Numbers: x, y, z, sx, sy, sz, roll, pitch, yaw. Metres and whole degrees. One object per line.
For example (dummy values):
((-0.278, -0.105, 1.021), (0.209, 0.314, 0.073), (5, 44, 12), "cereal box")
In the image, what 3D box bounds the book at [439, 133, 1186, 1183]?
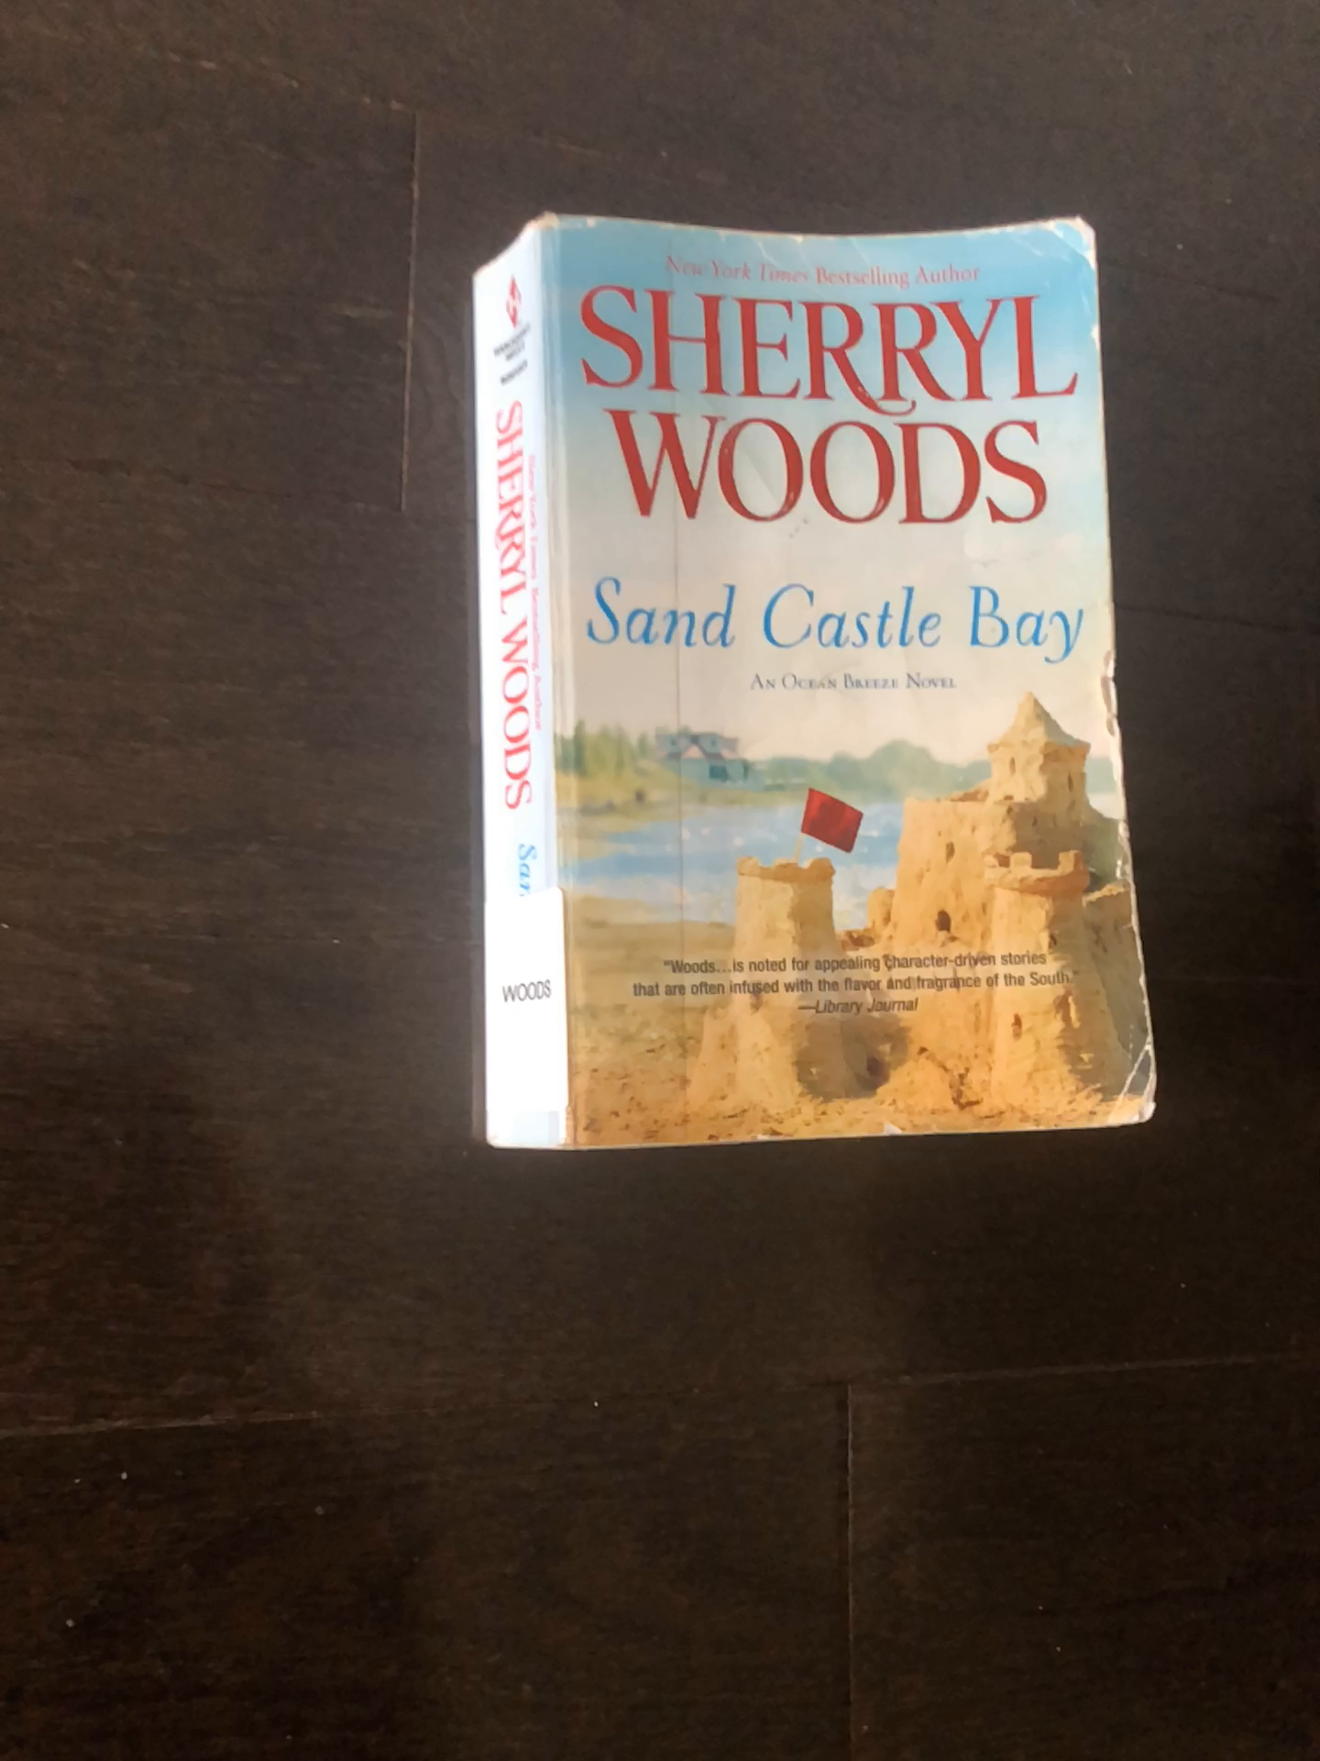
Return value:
((0.025, -0.035, 0.256), (0.119, 0.037, 0.161), (-1, 86, -16), "book")
